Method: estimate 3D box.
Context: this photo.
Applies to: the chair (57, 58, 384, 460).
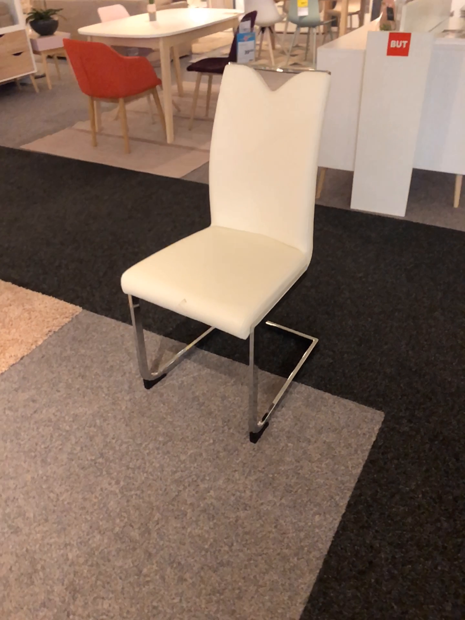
[{"bbox_3d":[0.018,-0.183,1.536,0.560,0.914,0.634,19,41,27],"label":"chair"}]
